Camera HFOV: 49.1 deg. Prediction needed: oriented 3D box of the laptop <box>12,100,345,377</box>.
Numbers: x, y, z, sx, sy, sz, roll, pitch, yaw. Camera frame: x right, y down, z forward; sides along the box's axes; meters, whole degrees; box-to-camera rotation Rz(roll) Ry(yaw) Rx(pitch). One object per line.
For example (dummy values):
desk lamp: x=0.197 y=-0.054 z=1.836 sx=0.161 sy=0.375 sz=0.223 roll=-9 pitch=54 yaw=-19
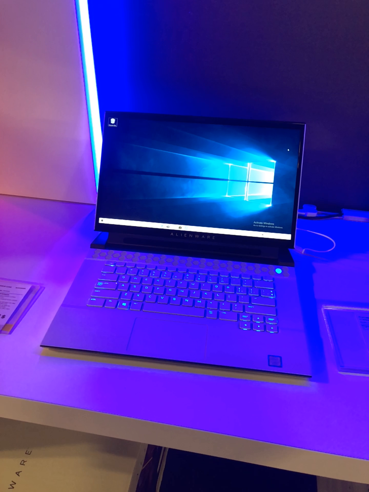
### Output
laptop: x=0.007 y=-0.049 z=0.629 sx=0.356 sy=0.194 sz=0.381 roll=5 pitch=38 yaw=5
